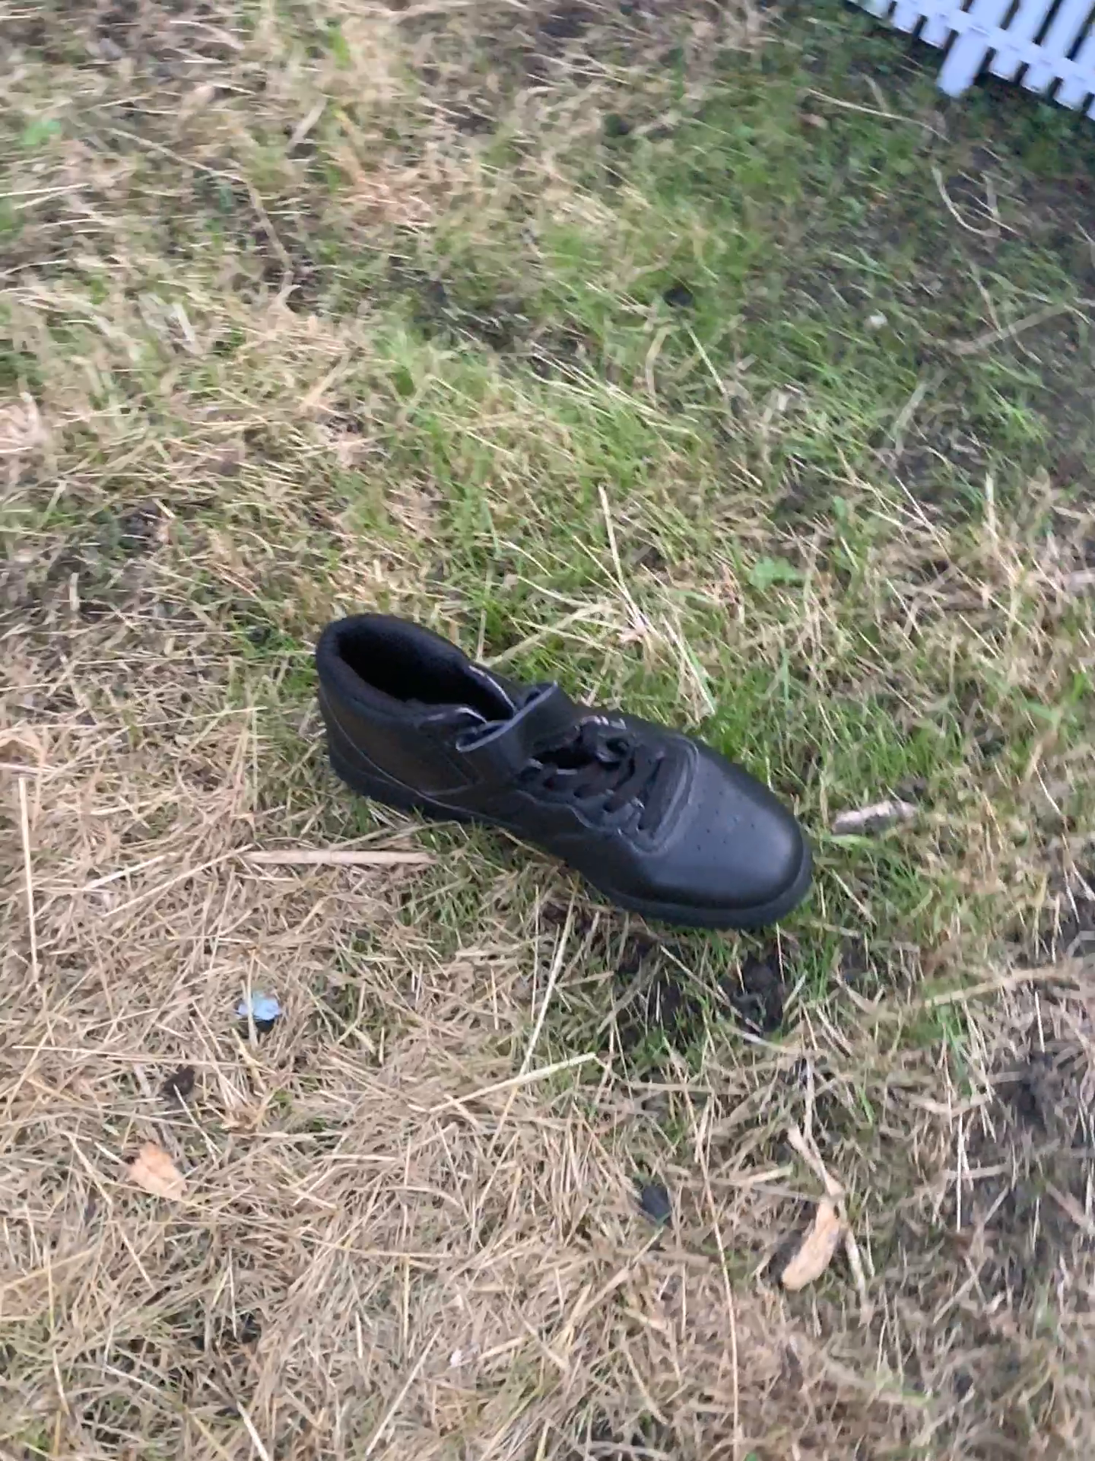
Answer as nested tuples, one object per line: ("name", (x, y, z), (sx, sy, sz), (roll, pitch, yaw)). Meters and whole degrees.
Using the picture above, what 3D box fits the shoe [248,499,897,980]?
("shoe", (0.010, 0.006, 0.551), (0.270, 0.119, 0.111), (20, 61, 8))
